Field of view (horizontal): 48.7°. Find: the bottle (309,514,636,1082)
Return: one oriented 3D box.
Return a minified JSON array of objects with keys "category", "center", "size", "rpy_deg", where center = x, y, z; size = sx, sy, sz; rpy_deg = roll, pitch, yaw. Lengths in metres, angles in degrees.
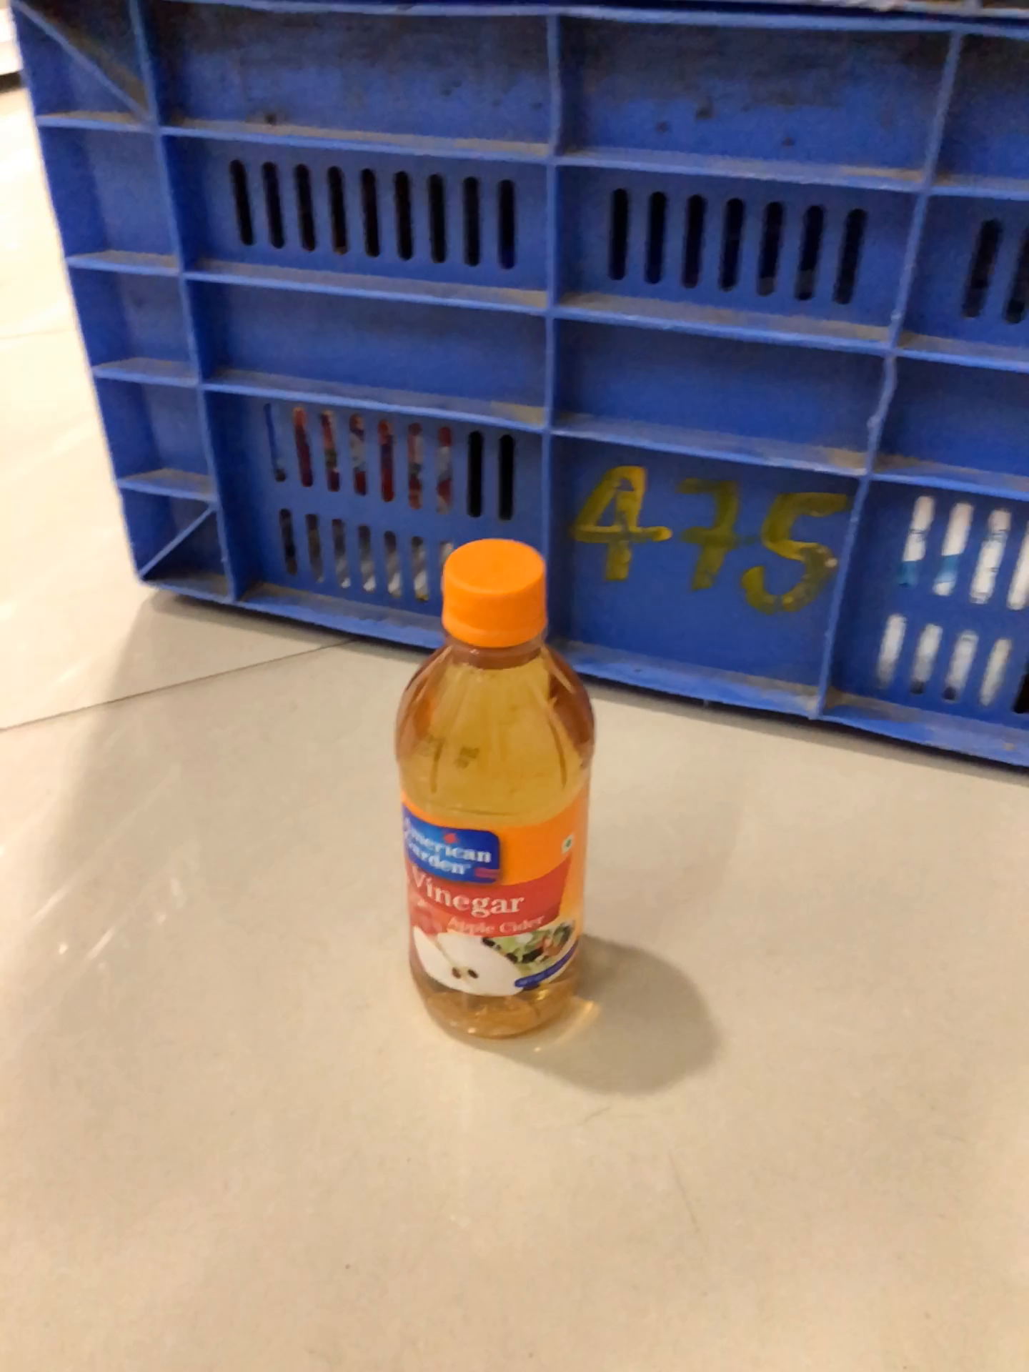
[{"category":"bottle","center":[-0.010,0.040,0.382],"size":[0.070,0.169,0.070],"rpy_deg":[0,36,0]}]
